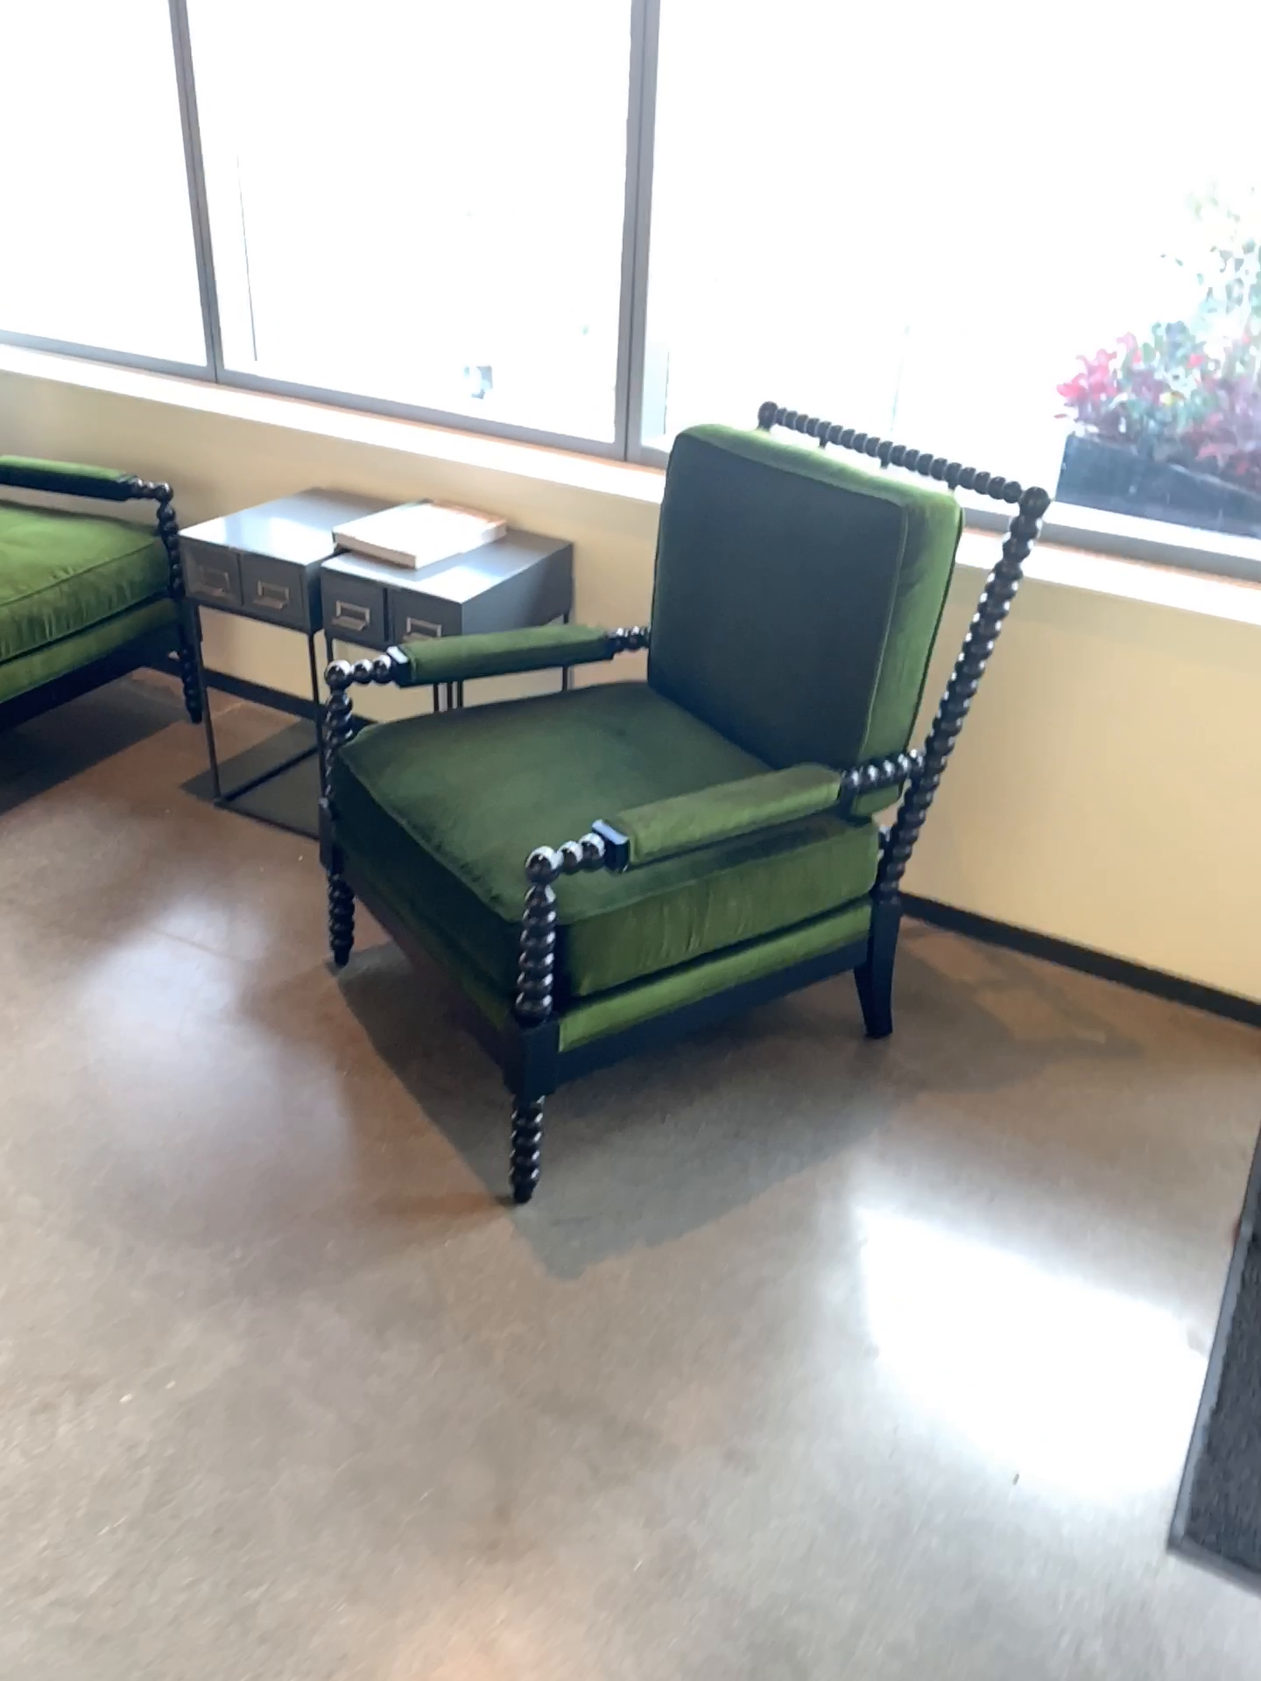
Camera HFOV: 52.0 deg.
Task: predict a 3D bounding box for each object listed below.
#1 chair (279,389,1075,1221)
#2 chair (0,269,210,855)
[{"bbox_3d":[0.030,-0.141,2.170,0.921,0.984,0.764,-16,35,-29],"label":"chair"},{"bbox_3d":[-1.606,-0.667,2.878,0.921,0.974,0.733,15,32,19],"label":"chair"}]
